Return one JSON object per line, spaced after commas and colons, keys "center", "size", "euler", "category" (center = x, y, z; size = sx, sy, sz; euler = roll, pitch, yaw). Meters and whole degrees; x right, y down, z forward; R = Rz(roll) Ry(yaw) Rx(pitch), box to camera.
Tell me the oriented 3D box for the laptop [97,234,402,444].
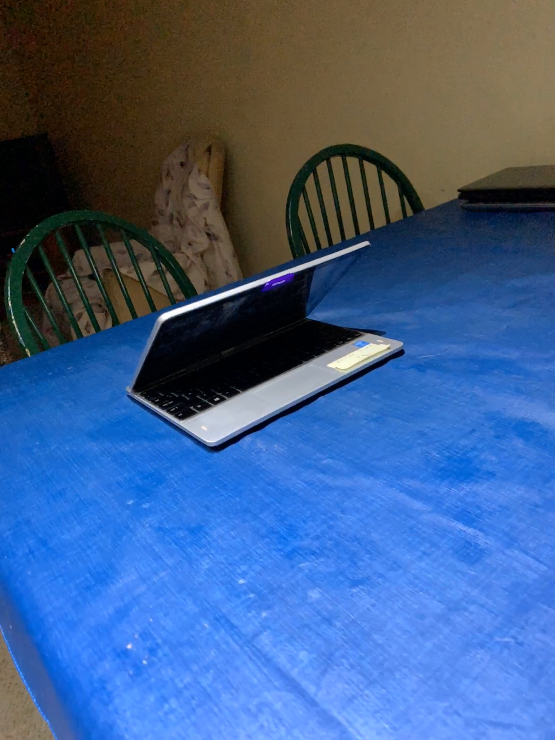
{"center": [-0.030, -0.060, 0.667], "size": [0.280, 0.122, 0.208], "euler": [-25, 26, -30], "category": "laptop"}
